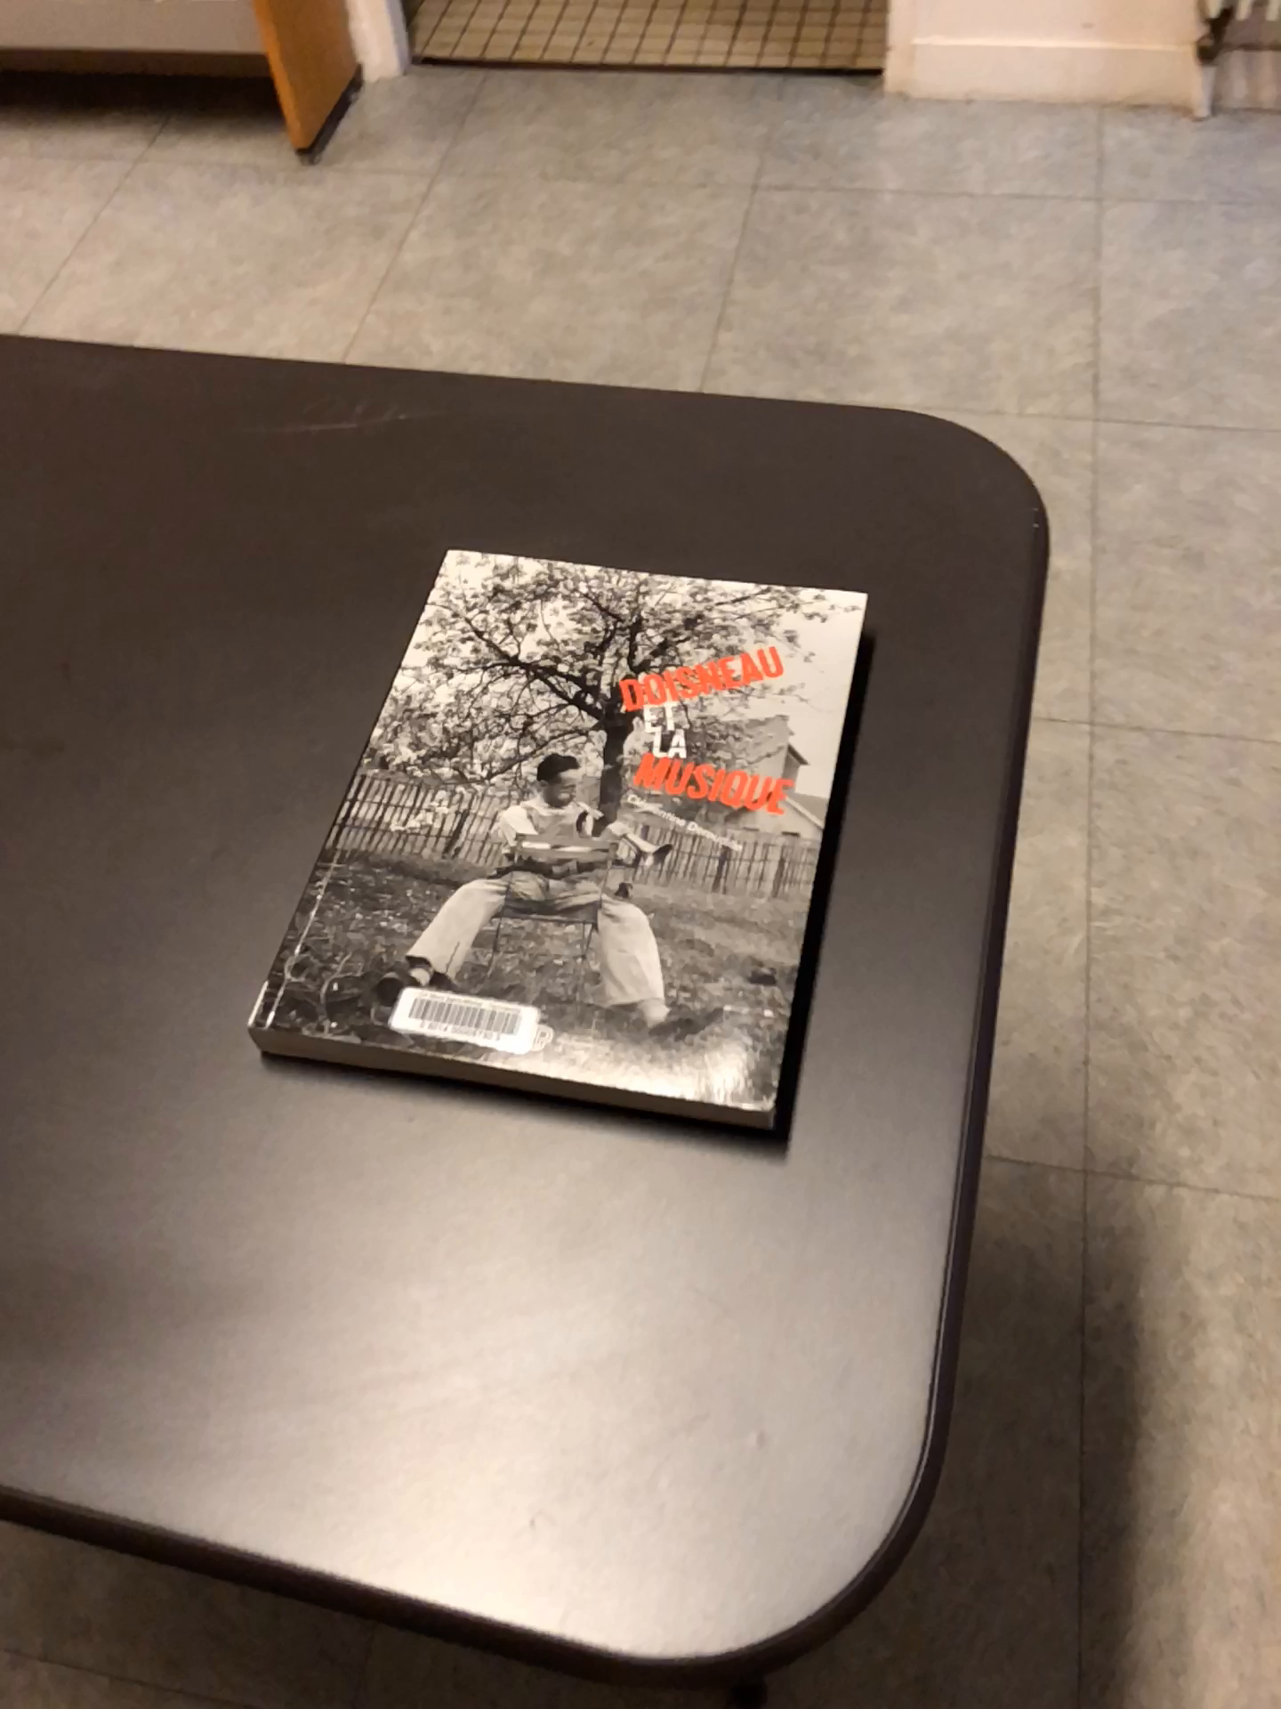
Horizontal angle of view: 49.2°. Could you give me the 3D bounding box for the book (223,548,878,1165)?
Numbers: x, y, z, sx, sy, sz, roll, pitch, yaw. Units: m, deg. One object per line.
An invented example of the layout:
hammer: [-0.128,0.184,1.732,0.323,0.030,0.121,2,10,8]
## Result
book: [-0.020,-0.017,0.545,0.194,0.030,0.251,8,53,10]
